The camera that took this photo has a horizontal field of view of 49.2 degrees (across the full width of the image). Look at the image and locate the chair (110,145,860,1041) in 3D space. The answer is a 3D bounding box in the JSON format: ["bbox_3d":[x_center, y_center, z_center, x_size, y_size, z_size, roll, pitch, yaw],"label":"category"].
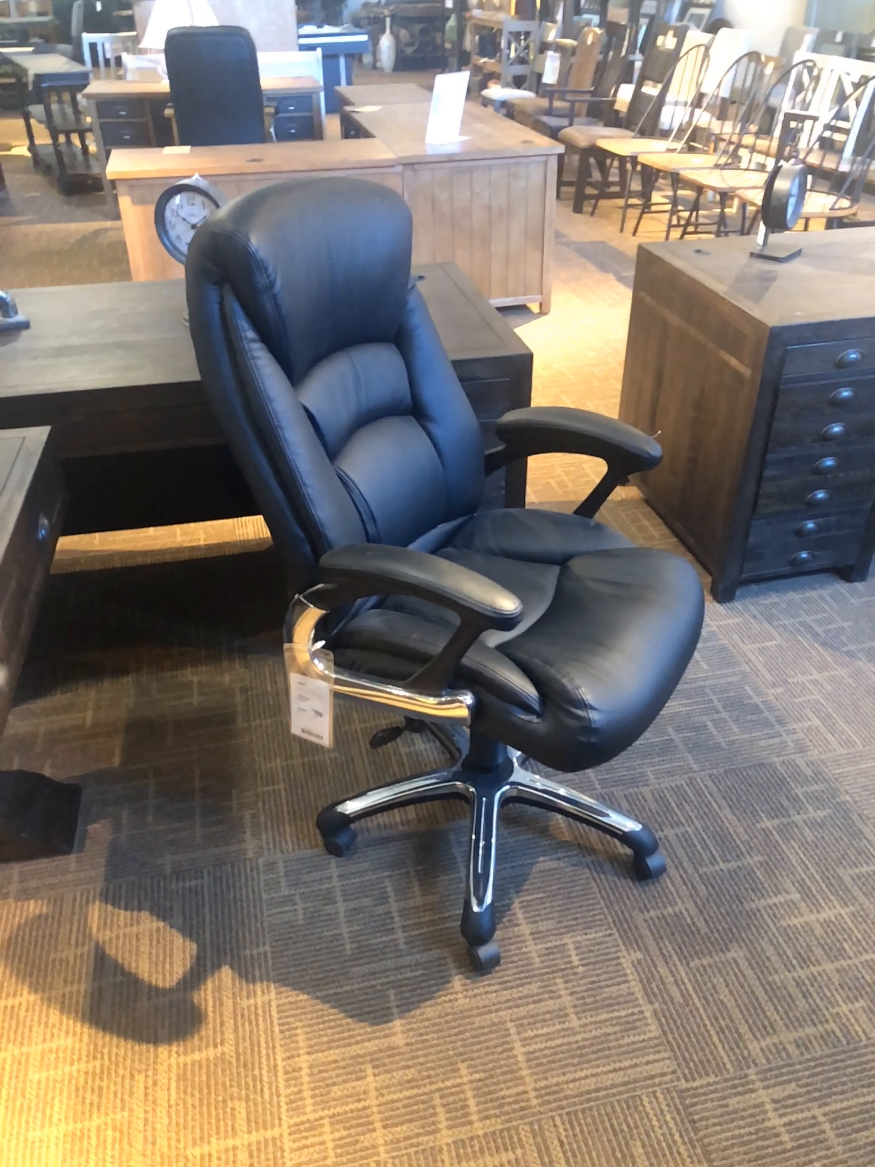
[{"bbox_3d":[0.103,-0.040,1.583,0.769,1.118,0.704,17,36,25],"label":"chair"}]
